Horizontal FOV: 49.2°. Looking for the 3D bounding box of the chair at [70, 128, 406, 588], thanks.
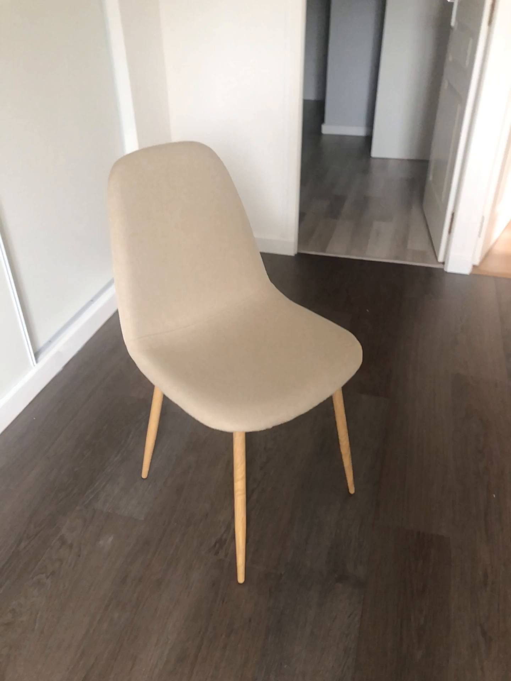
[{"bbox_3d":[-0.043,0.022,1.304,0.432,0.845,0.501,-25,40,-32],"label":"chair"}]
